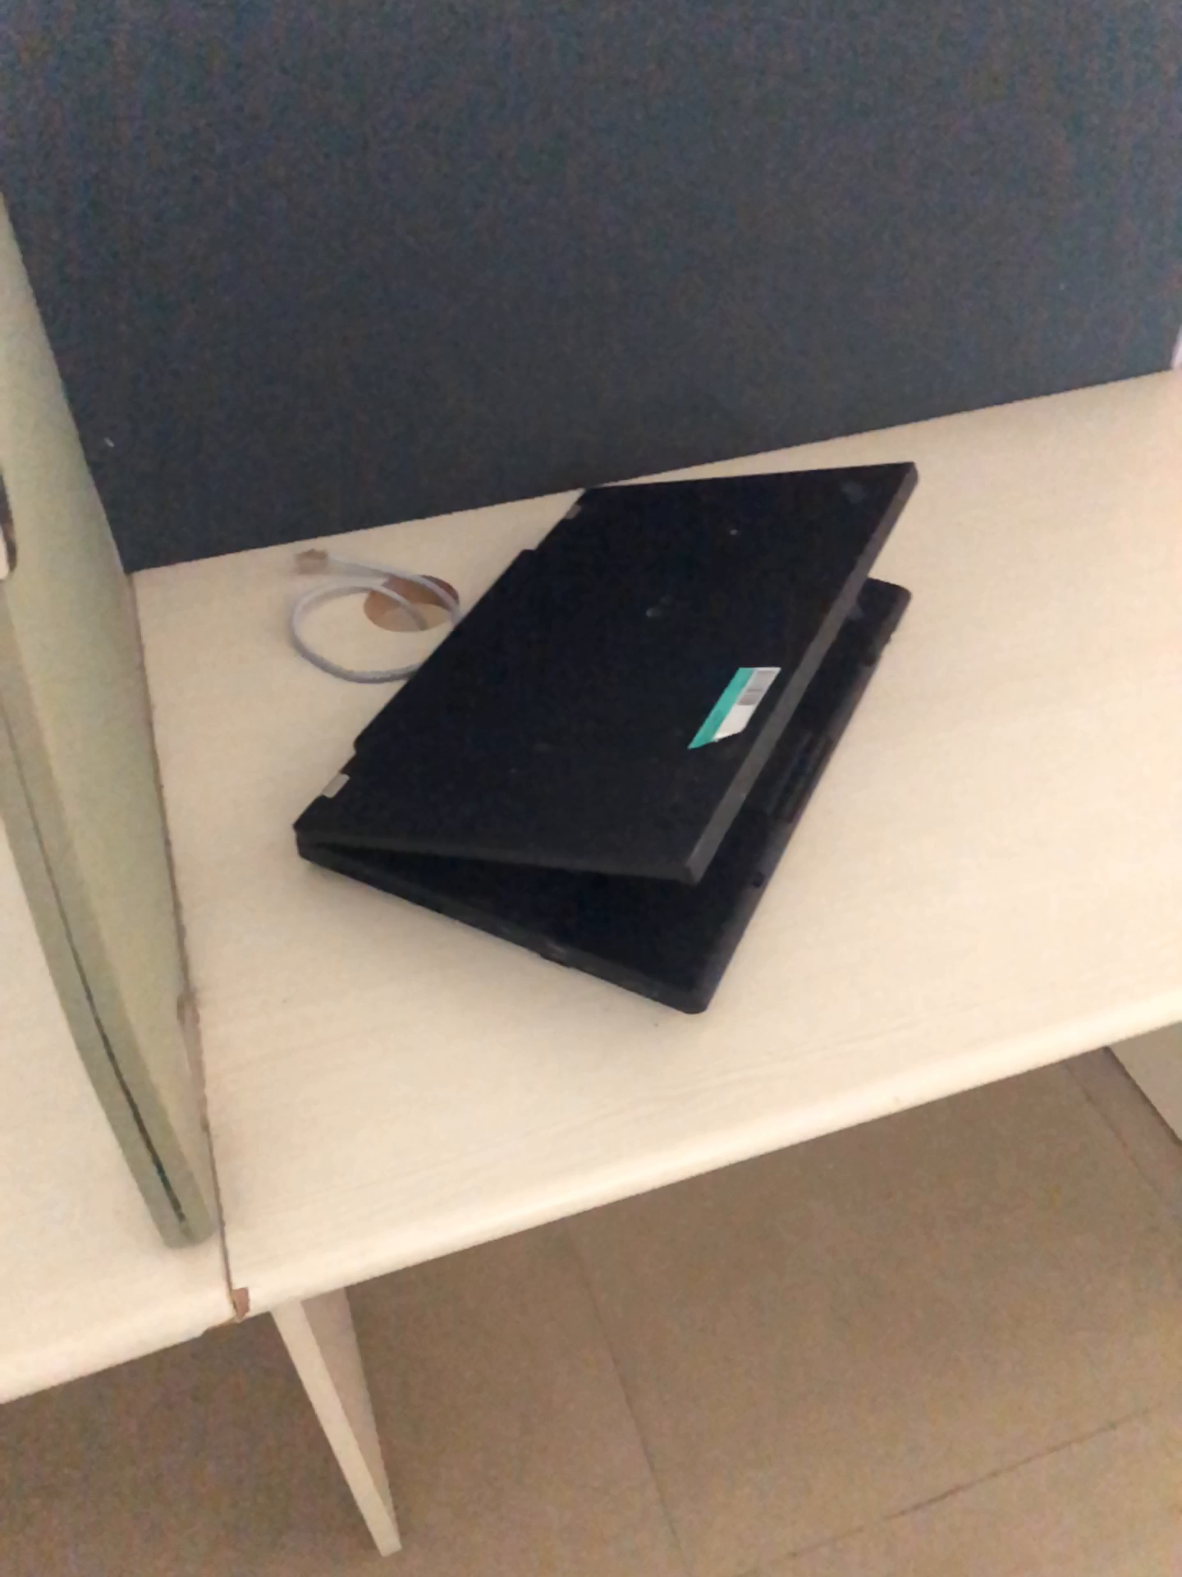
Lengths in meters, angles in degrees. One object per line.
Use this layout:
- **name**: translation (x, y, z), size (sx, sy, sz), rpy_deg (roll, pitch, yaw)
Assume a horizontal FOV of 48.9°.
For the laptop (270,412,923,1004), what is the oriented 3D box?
- **laptop**: translation (0.025, -0.075, 0.752), size (0.235, 0.077, 0.365), rpy_deg (18, 48, 17)
